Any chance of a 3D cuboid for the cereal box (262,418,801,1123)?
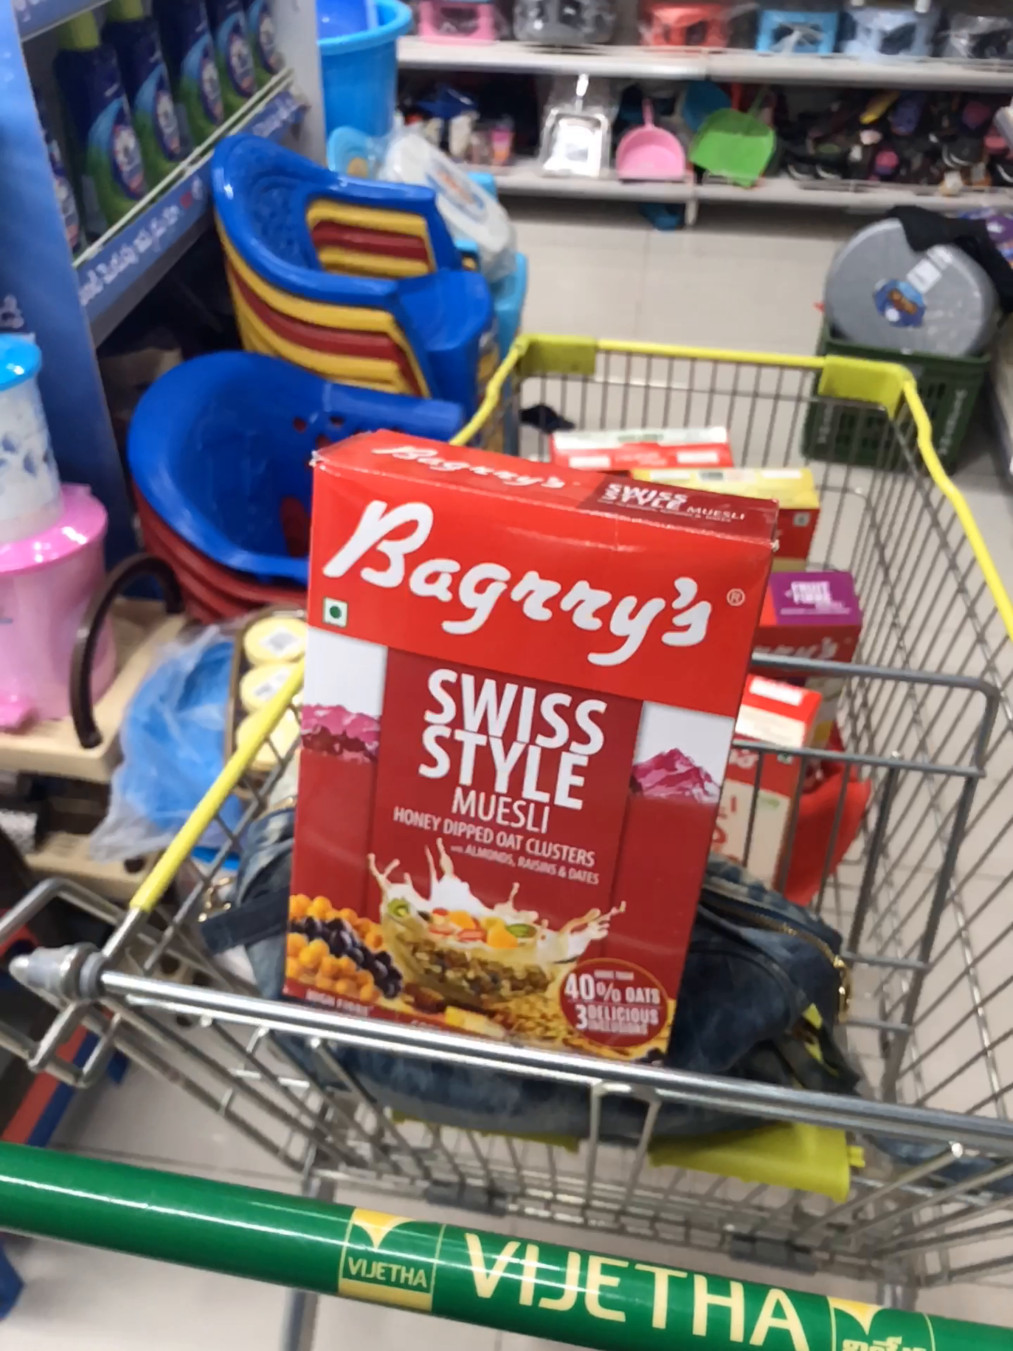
[{"bbox_3d":[0.003,0.038,0.488,0.190,0.259,0.070,12,21,13],"label":"cereal box"}]
